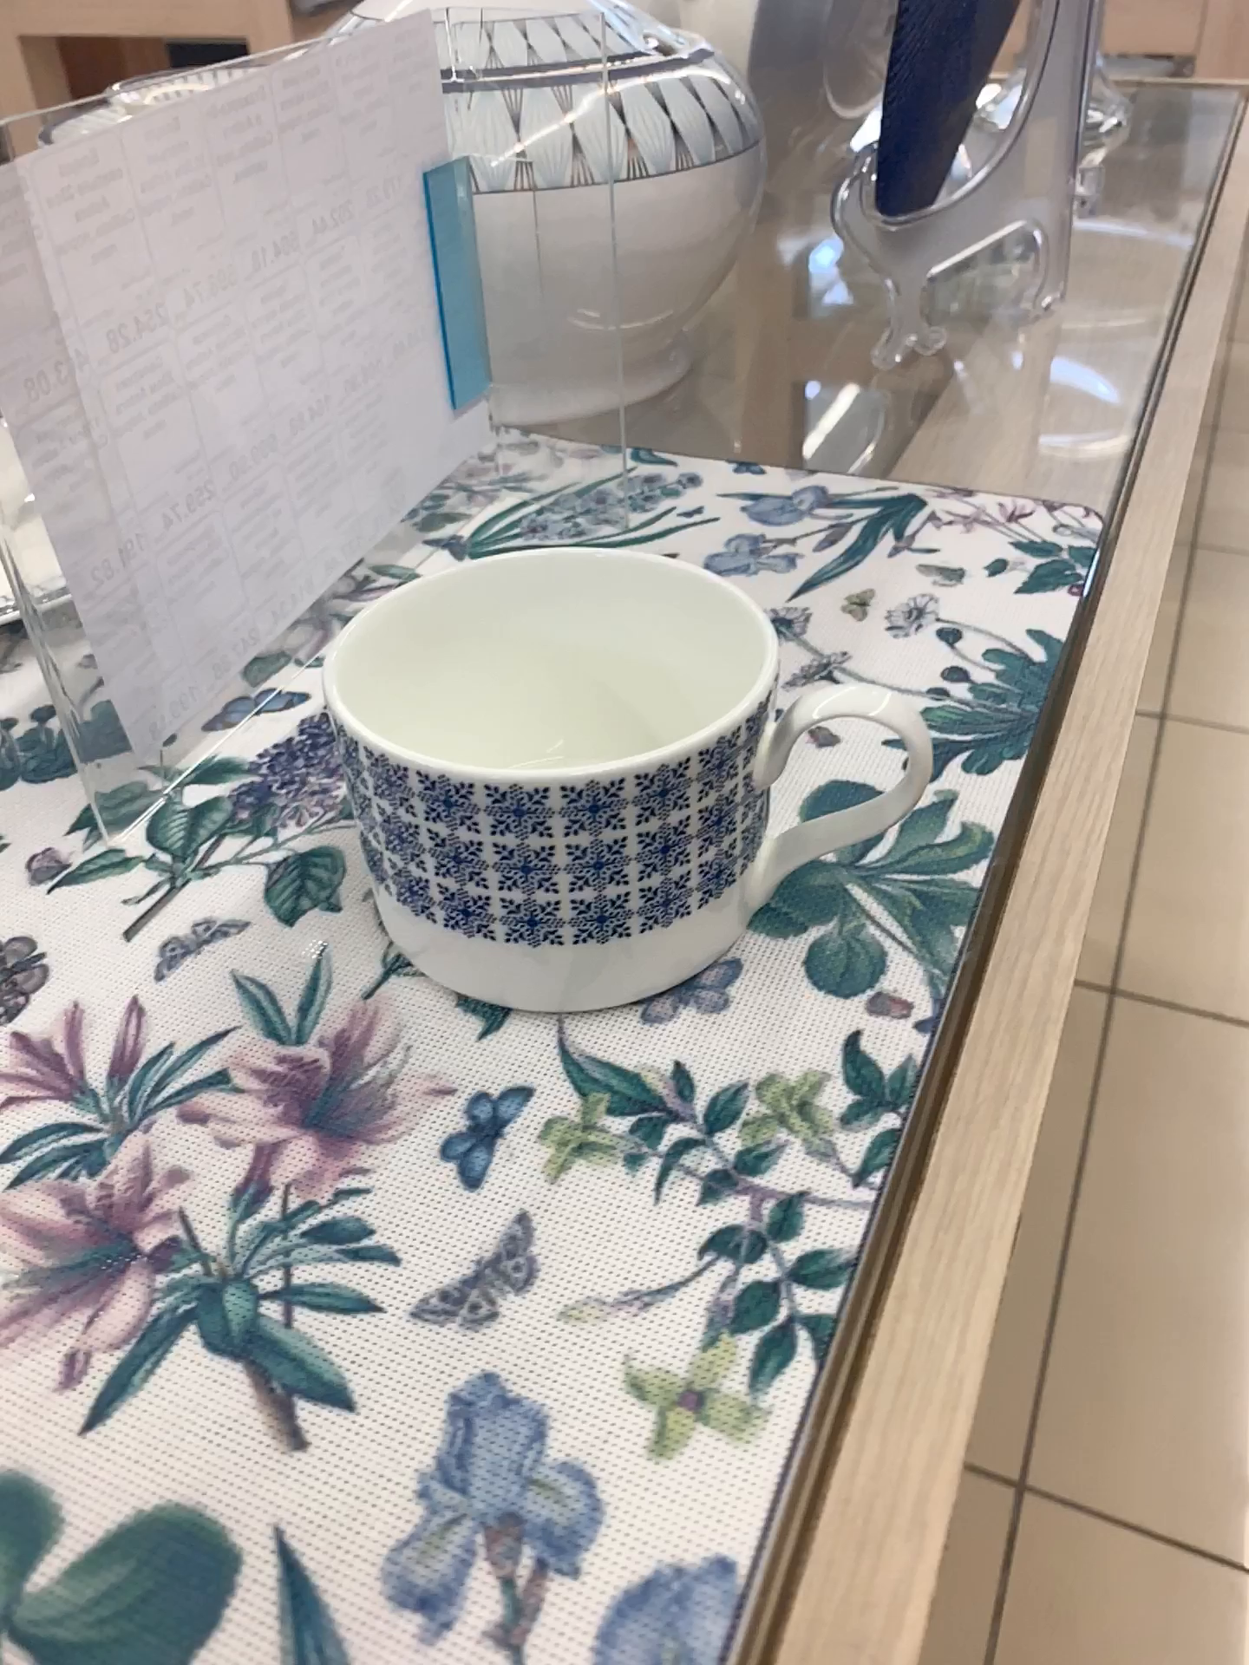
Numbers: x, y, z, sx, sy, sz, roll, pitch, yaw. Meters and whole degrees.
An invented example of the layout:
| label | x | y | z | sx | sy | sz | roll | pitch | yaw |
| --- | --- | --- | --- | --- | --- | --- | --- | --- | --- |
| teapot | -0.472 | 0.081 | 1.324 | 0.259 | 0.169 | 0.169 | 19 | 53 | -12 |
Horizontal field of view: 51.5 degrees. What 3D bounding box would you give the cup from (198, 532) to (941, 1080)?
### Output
| label | x | y | z | sx | sy | sz | roll | pitch | yaw |
| --- | --- | --- | --- | --- | --- | --- | --- | --- | --- |
| cup | -0.003 | -0.011 | 0.259 | 0.120 | 0.060 | 0.090 | 4 | 39 | 8 |
